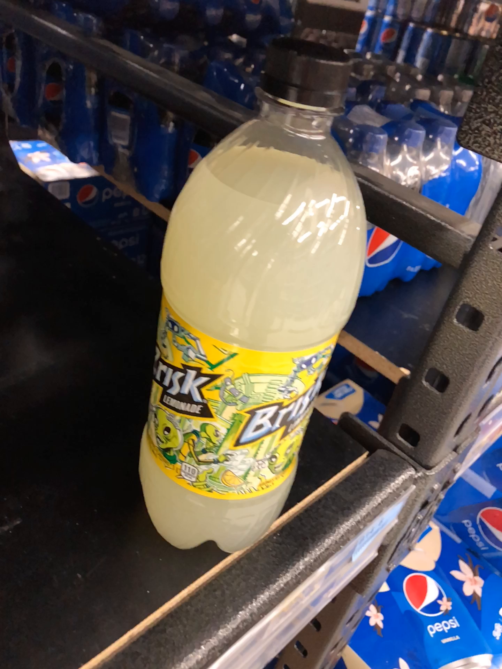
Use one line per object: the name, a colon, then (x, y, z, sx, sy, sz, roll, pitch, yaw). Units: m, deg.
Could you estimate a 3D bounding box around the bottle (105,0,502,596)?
bottle: (0.005, -0.006, 0.249, 0.090, 0.228, 0.090, 10, 35, -7)
